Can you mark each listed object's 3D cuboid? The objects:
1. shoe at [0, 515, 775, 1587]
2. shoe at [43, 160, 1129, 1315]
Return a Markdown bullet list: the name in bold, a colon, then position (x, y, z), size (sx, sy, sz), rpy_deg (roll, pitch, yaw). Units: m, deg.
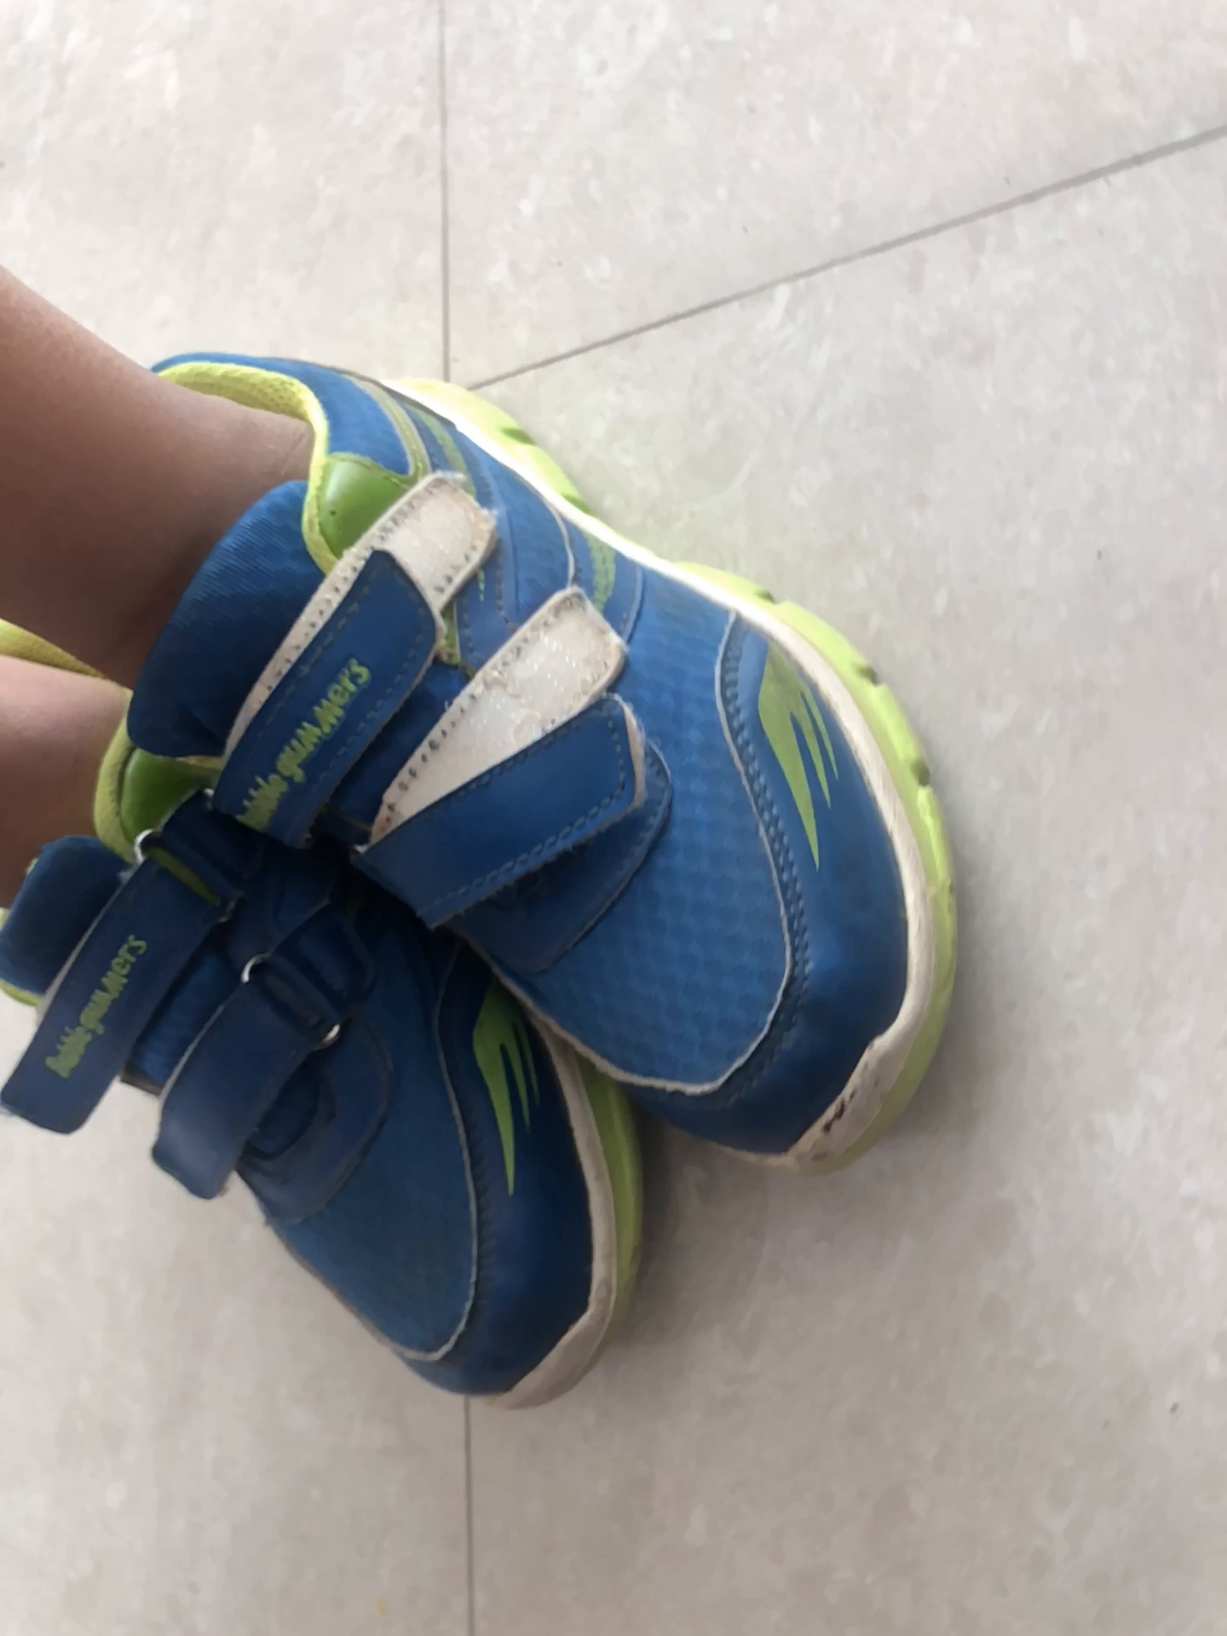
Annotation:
- **shoe**: position (-0.075, 0.037, 0.314), size (0.221, 0.060, 0.090), rpy_deg (49, 113, 28)
- **shoe**: position (-0.023, -0.028, 0.270), size (0.221, 0.060, 0.090), rpy_deg (48, 112, 29)
